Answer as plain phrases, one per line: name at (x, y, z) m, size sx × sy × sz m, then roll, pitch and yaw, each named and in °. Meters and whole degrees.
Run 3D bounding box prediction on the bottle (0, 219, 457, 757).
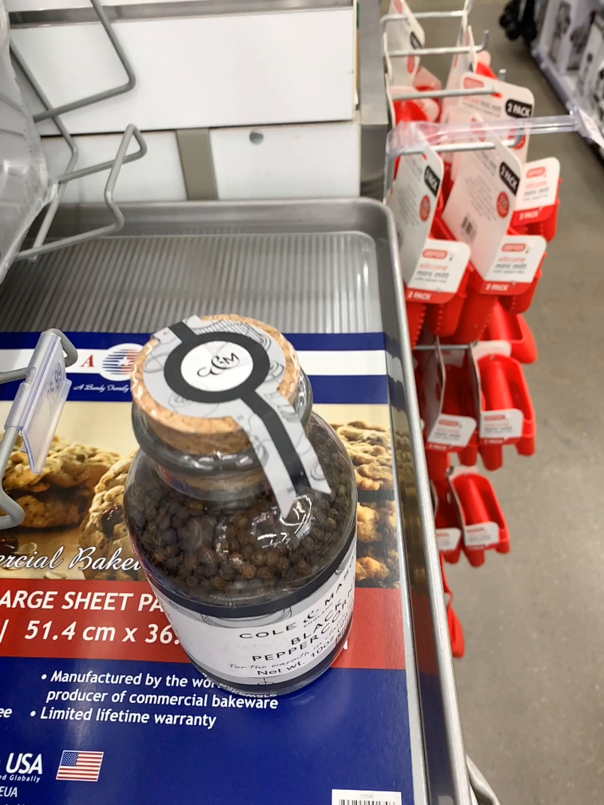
bottle at (-0.019, 0.039, 0.227) m, size 0.090 × 0.159 × 0.090 m, roll -2°, pitch 49°, yaw 2°
